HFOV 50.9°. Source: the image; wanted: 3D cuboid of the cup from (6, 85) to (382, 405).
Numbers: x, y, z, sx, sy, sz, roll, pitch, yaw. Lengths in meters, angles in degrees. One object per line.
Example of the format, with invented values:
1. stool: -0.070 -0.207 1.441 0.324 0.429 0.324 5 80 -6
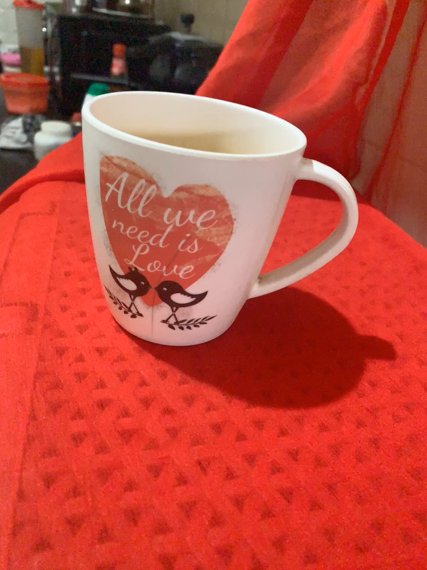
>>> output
1. cup: -0.004 -0.025 0.186 0.110 0.079 0.091 13 32 6
